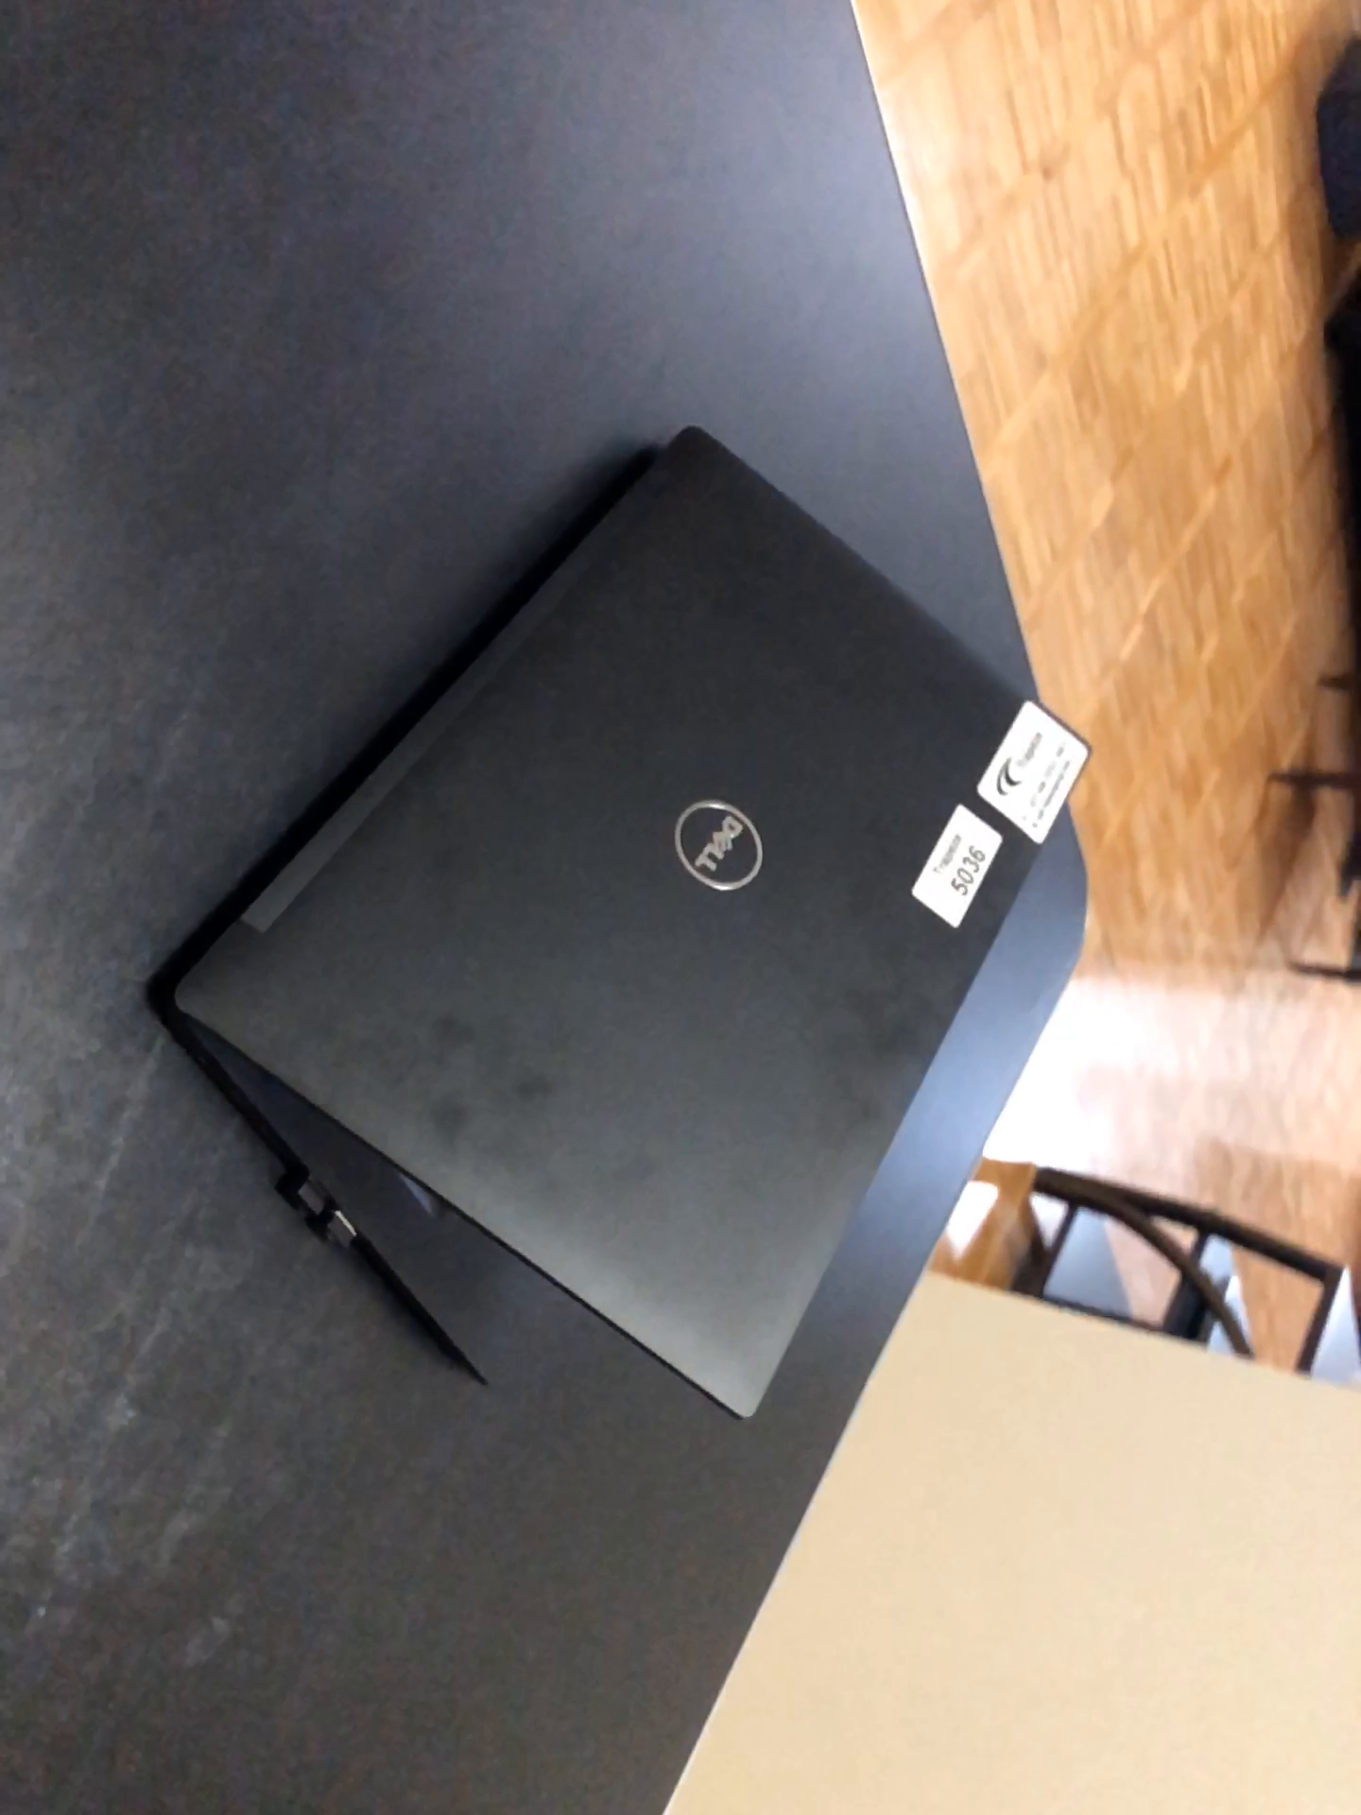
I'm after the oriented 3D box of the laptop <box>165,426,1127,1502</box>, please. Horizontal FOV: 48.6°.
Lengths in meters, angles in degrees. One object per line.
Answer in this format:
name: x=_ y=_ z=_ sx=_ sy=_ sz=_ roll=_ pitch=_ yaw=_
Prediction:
laptop: x=0.023 y=0.005 z=0.563 sx=0.319 sy=0.142 sz=0.220 roll=-55 pitch=135 yaw=-32
